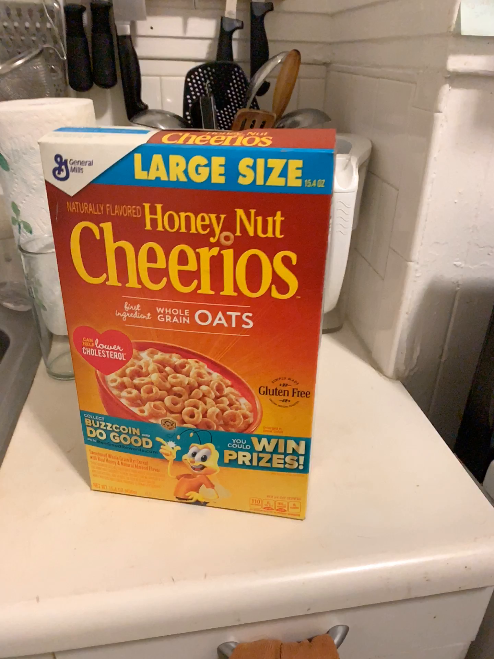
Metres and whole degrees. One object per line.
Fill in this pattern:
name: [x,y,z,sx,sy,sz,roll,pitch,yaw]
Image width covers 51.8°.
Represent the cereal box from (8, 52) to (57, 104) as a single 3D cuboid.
cereal box: [-4.069,-4.789,9.695,0.550,0.865,0.503,5,28,7]
